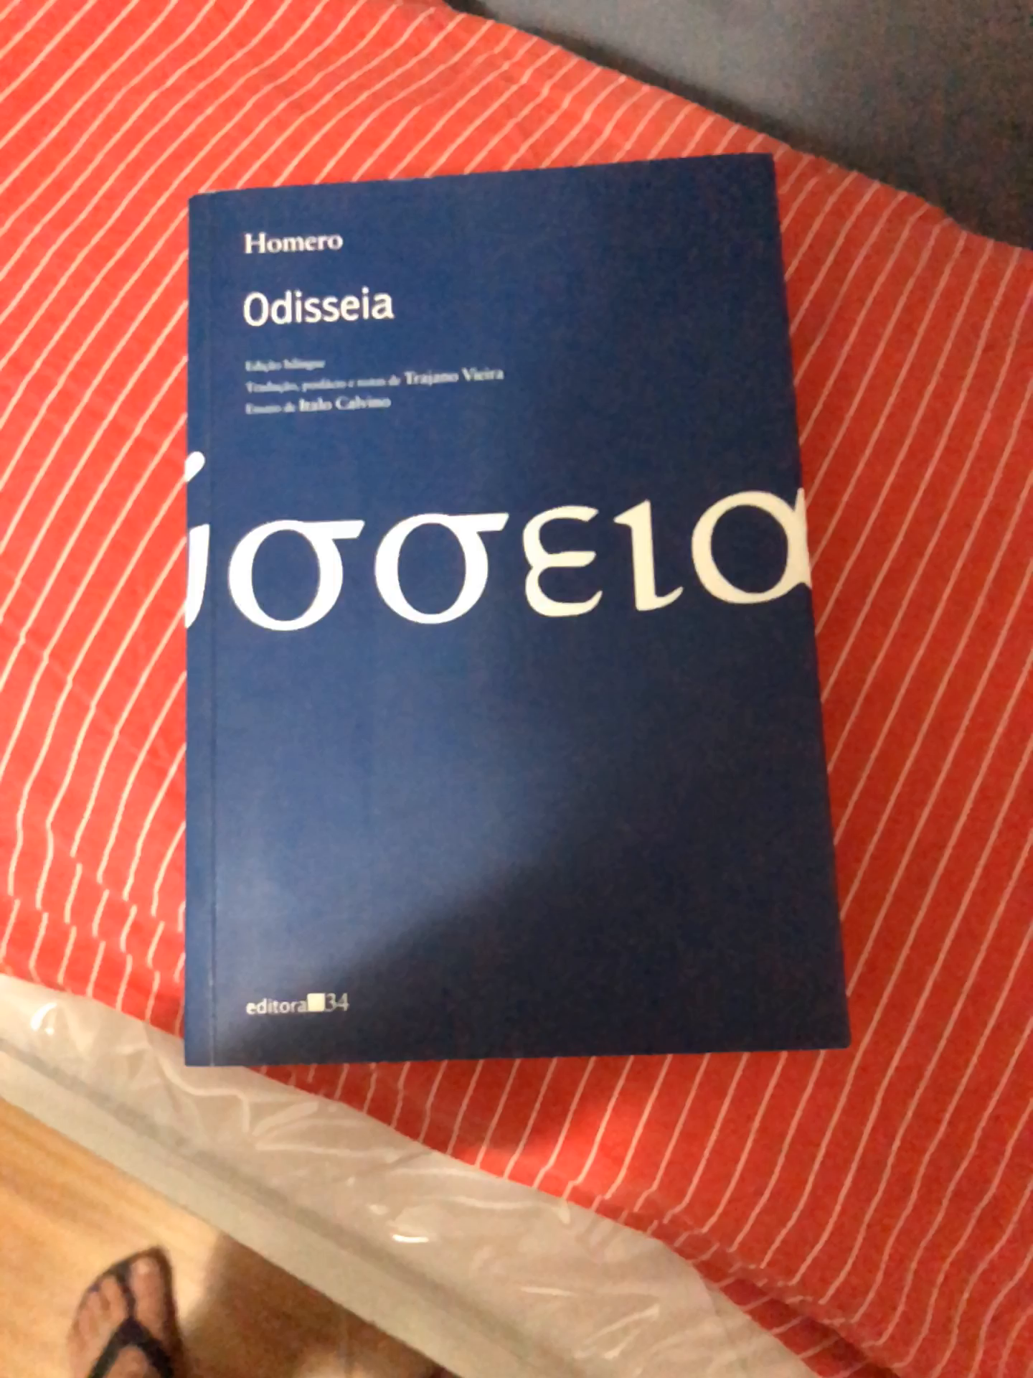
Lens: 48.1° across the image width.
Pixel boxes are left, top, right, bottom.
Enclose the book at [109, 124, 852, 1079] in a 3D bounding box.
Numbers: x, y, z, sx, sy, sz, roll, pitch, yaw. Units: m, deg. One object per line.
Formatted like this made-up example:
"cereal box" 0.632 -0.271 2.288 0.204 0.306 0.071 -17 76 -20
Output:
"book" -0.013 -0.024 0.303 0.170 0.040 0.230 -3 80 5
